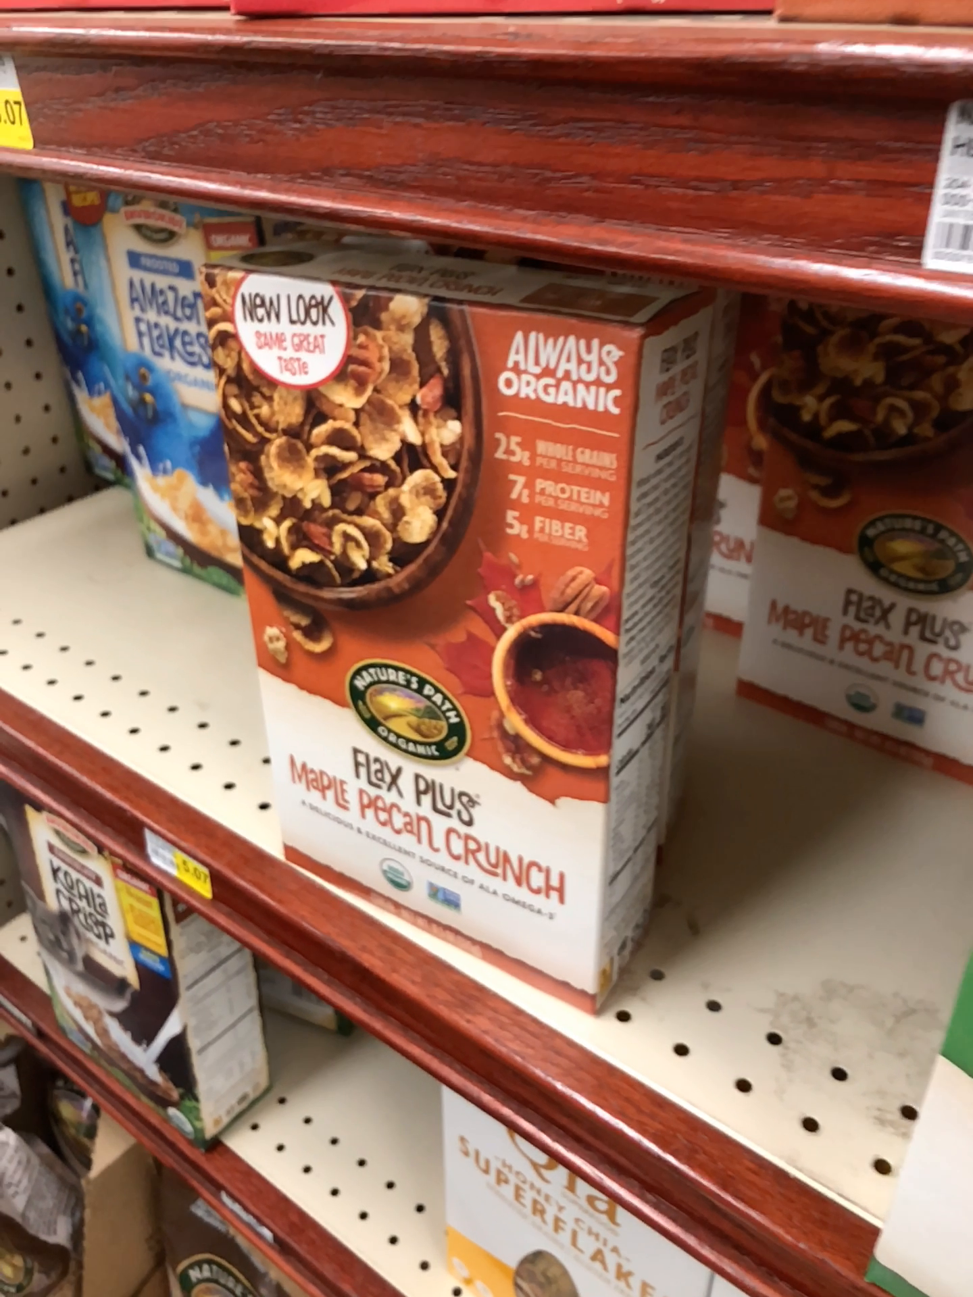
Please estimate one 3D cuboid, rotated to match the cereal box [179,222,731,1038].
[{"bbox_3d":[-0.011,-0.004,0.391,0.160,0.259,0.060,19,36,30],"label":"cereal box"}]
